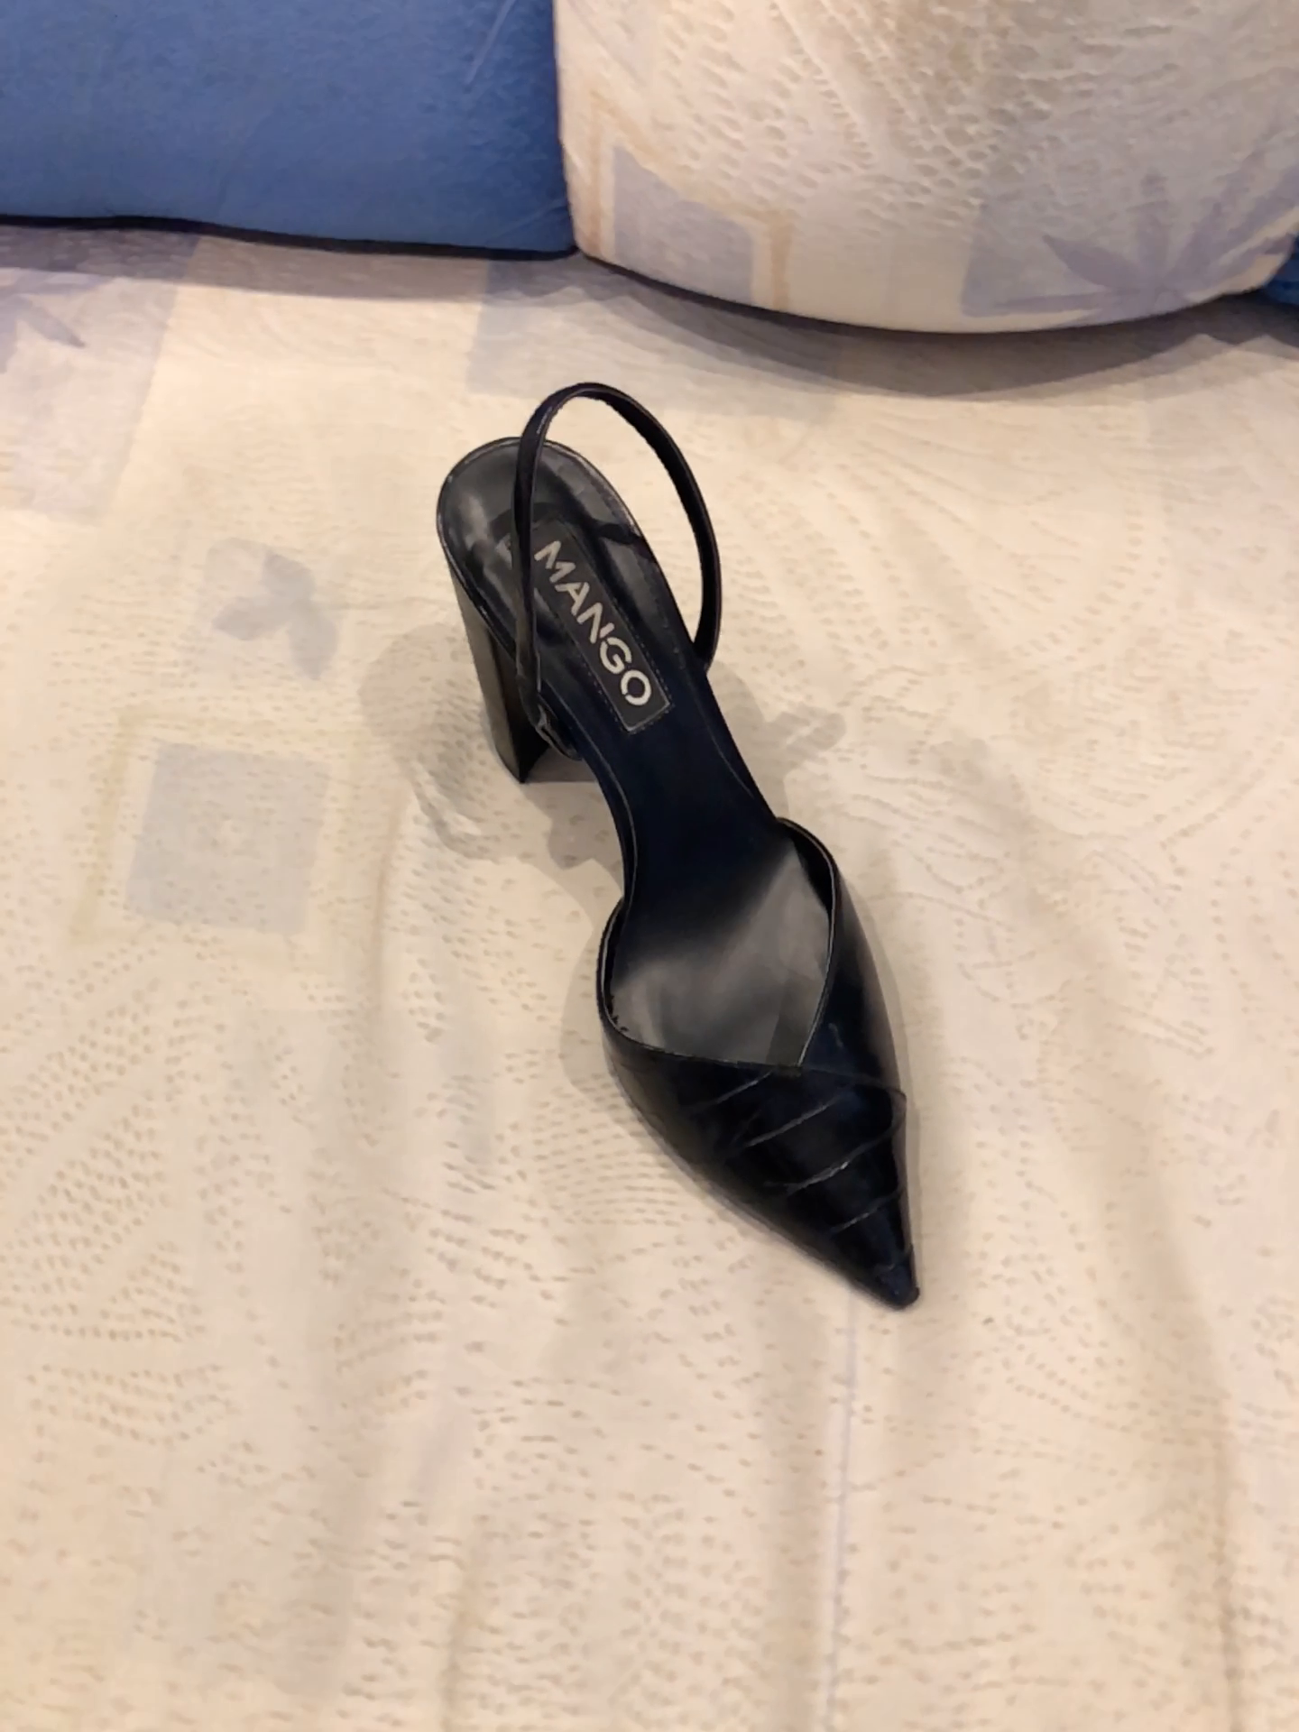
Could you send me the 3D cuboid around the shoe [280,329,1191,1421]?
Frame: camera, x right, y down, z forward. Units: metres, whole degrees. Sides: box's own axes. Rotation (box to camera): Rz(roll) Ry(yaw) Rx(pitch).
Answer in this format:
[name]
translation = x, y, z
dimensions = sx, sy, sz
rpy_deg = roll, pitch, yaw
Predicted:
[shoe]
translation = 0.008, 0.001, 0.379
dimensions = 0.100, 0.129, 0.241
rpy_deg = -25, 64, -12
